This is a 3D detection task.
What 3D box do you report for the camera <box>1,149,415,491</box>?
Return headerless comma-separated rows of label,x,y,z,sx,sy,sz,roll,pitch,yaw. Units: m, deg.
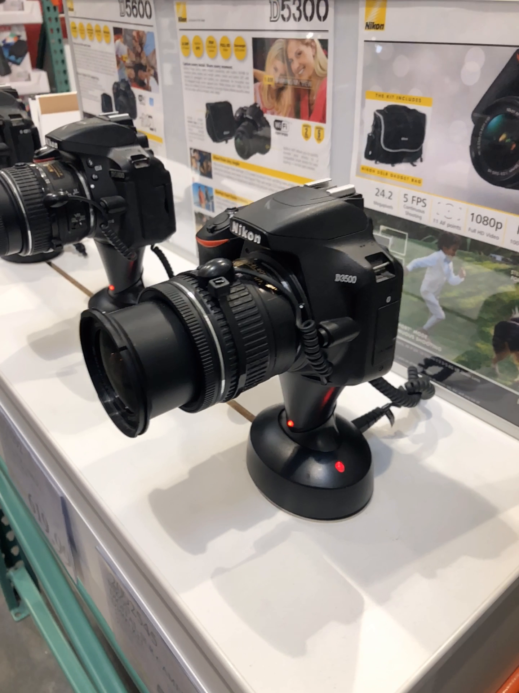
camera,-0.026,-0.031,0.286,0.140,0.089,0.131,-22,37,-32
